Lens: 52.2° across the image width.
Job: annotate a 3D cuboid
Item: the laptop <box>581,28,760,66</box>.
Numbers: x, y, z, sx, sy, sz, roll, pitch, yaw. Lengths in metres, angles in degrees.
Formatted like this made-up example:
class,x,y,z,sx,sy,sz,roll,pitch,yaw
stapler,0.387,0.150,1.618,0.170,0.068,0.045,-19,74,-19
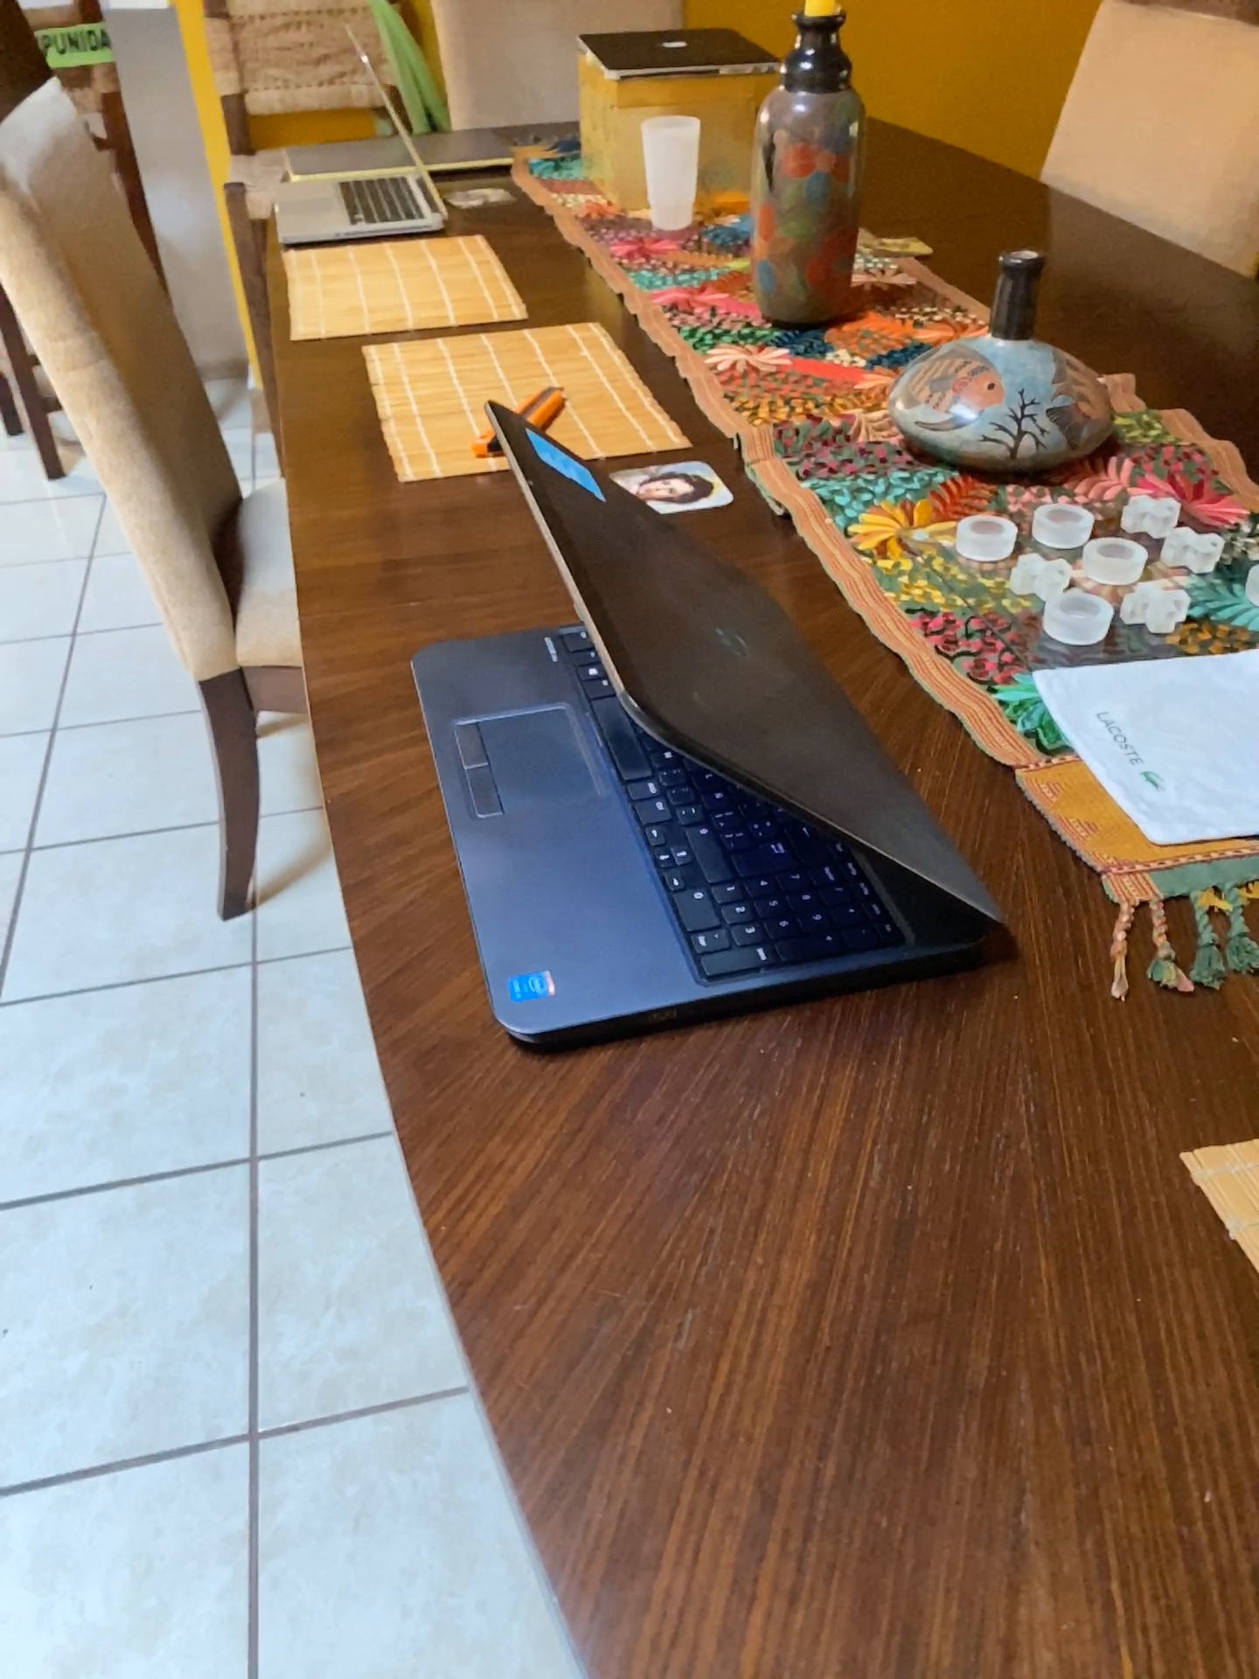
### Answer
class,x,y,z,sx,sy,sz,roll,pitch,yaw
laptop,0.051,-1.121,1.817,0.201,0.001,0.293,-7,40,-9

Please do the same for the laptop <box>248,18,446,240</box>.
class,x,y,z,sx,sy,sz,roll,pitch,yaw
laptop,-0.410,-1.029,1.847,0.221,0.207,0.373,-11,39,-11

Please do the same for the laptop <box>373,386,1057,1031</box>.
class,x,y,z,sx,sy,sz,roll,pitch,yaw
laptop,0.014,-0.099,0.704,0.248,0.158,0.358,-10,39,-10
